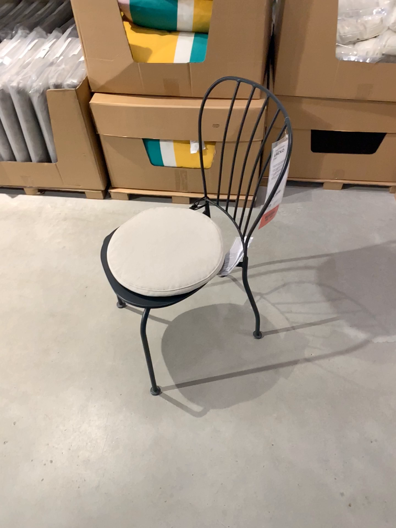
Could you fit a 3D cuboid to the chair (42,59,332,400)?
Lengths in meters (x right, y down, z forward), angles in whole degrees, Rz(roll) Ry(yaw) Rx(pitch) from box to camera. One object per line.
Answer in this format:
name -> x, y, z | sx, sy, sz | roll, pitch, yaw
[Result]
chair -> -0.043, -0.062, 1.232 | 0.520, 0.817, 0.482 | -19, 52, -14
